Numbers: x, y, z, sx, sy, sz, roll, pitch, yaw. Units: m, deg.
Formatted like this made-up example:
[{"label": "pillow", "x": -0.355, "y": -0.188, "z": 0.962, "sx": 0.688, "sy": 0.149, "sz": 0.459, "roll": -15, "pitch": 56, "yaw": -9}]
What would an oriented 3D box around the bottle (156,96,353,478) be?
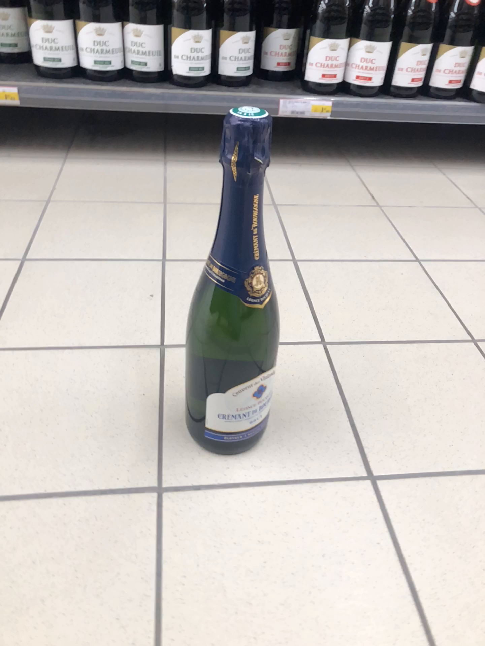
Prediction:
[{"label": "bottle", "x": -0.003, "y": -0.020, "z": 0.465, "sx": 0.100, "sy": 0.308, "sz": 0.100, "roll": 3, "pitch": 36, "yaw": -2}]
